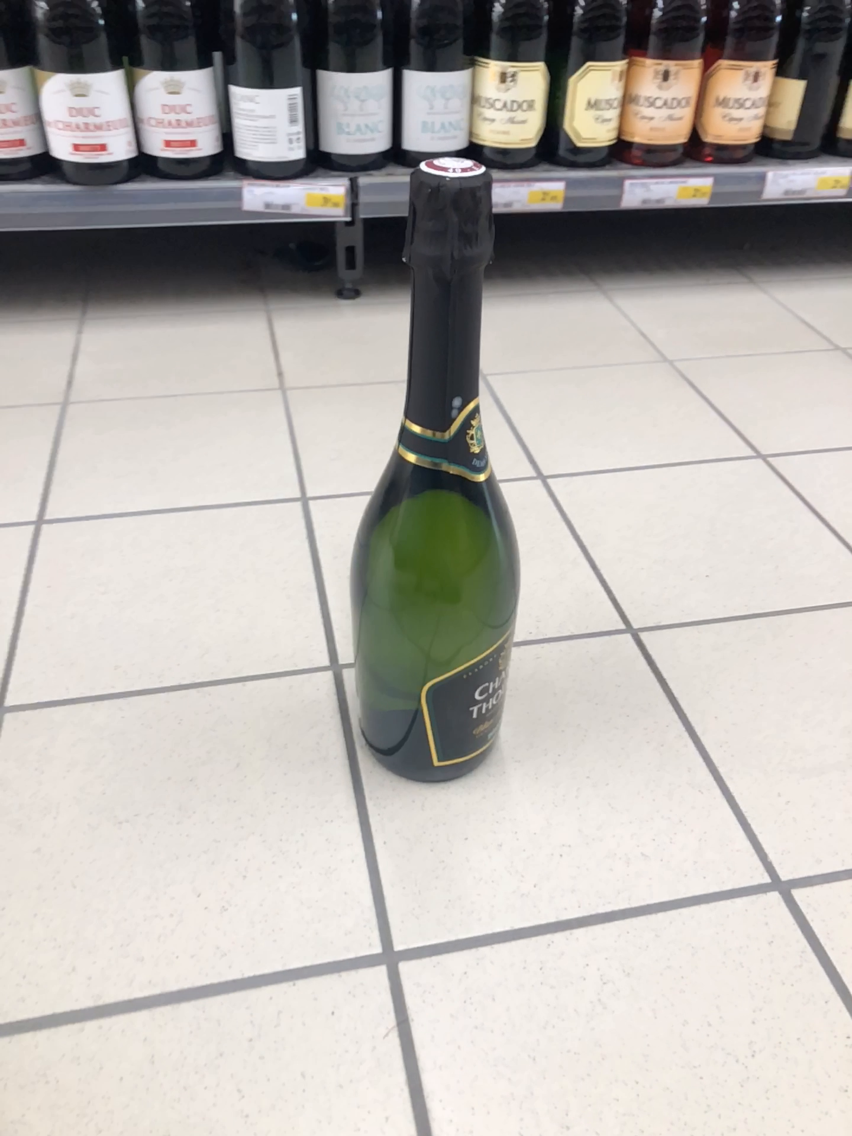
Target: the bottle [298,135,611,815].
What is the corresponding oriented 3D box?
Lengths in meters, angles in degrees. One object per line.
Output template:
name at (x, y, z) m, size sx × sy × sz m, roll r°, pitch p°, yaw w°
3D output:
bottle at (0.009, -0.031, 0.458) m, size 0.090 × 0.308 × 0.091 m, roll 1°, pitch 35°, yaw -1°
